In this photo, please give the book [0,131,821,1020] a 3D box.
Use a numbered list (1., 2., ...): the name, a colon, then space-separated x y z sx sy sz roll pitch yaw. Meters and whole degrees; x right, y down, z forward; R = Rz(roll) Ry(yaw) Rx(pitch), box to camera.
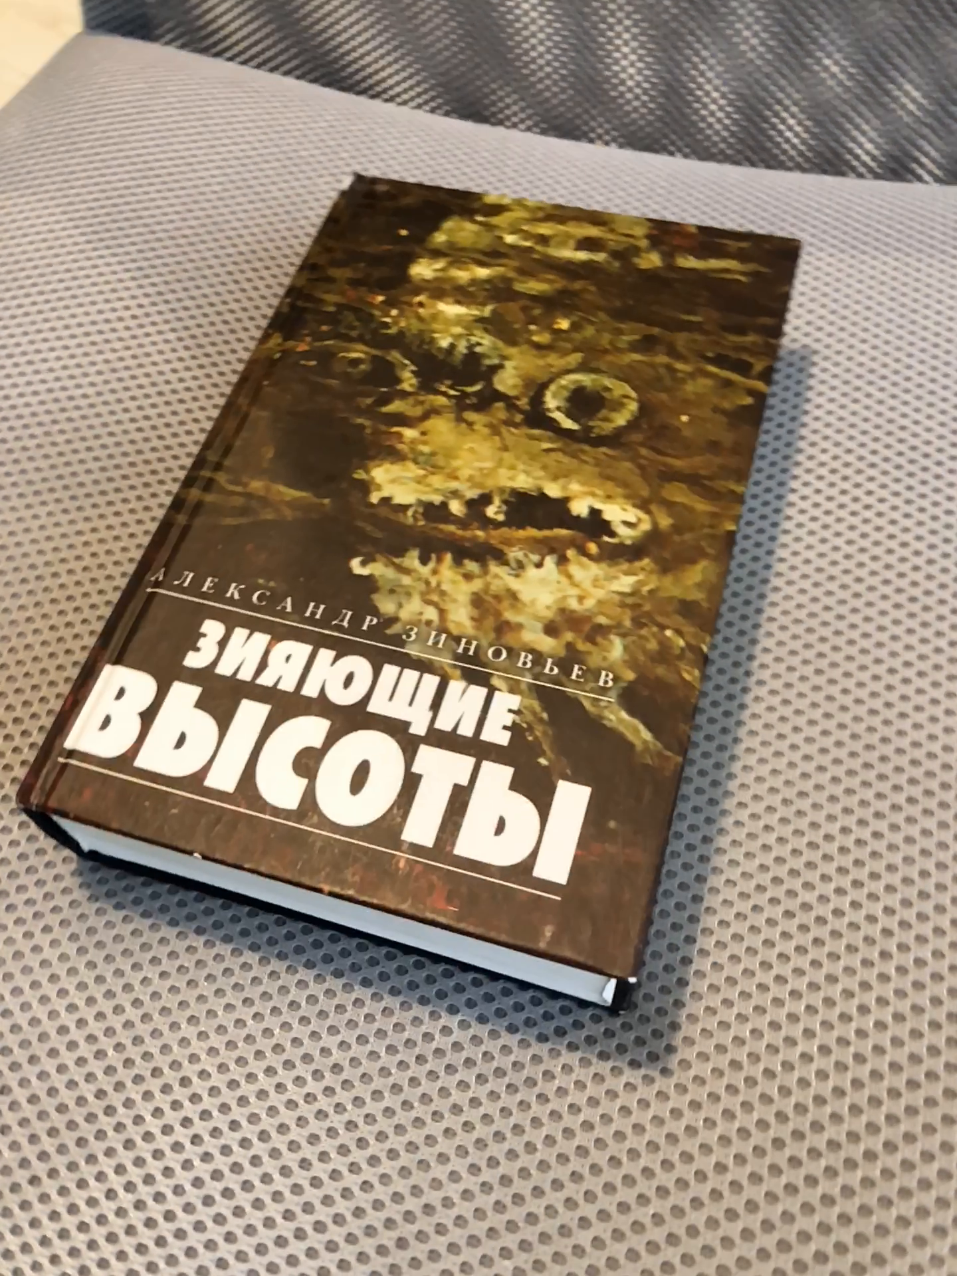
1. book: -0.008 -0.028 0.254 0.140 0.040 0.191 13 67 10
